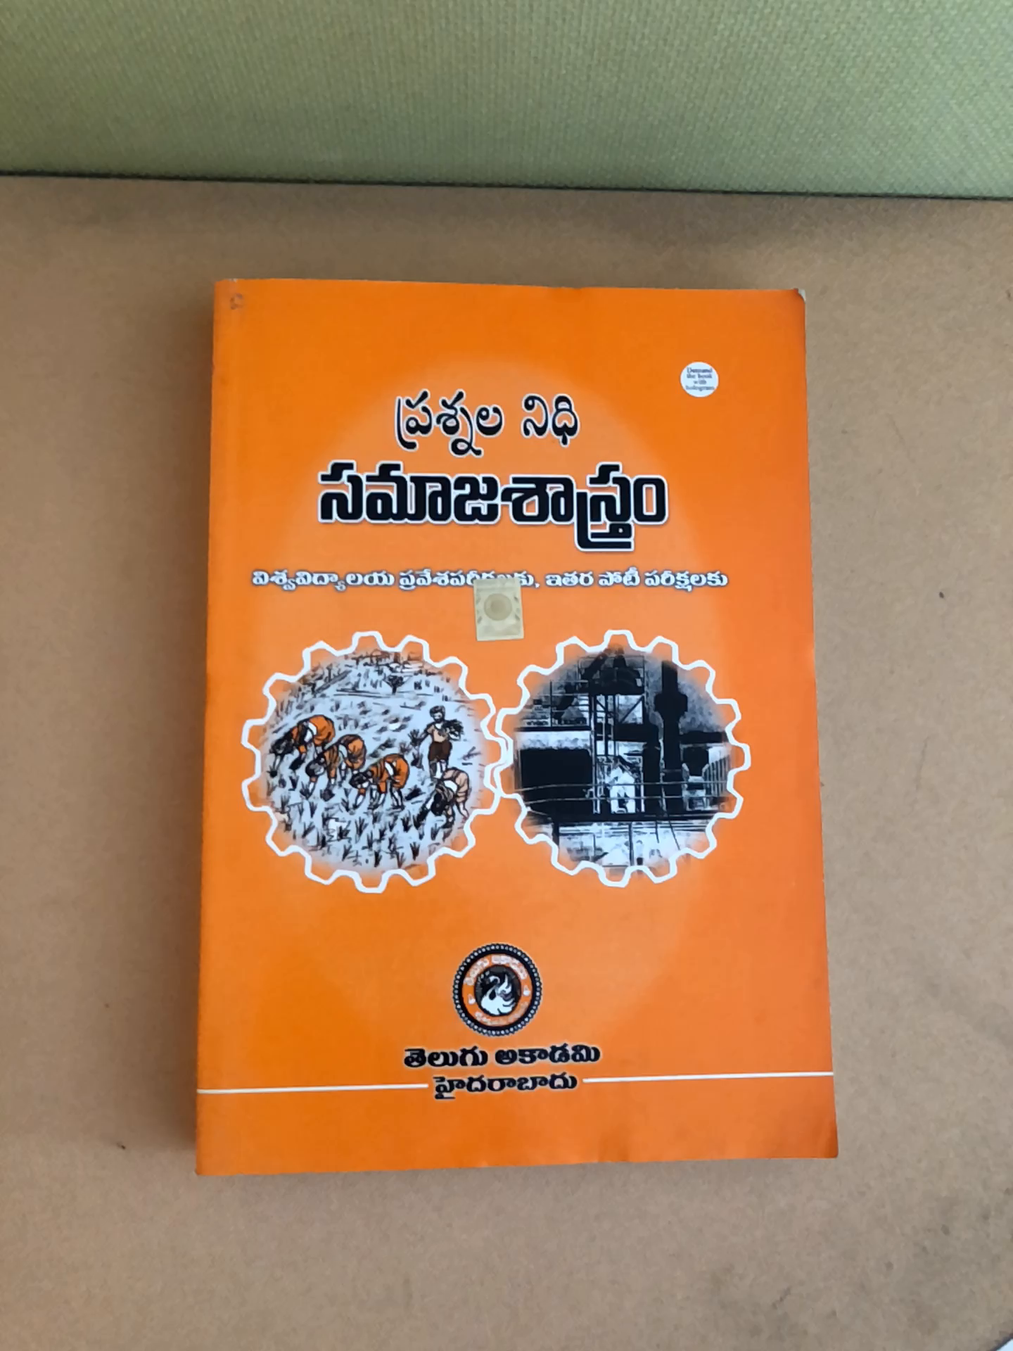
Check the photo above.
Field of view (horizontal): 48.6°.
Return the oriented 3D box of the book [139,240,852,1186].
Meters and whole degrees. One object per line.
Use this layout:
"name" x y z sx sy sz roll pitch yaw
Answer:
"book" -0.004 0.006 0.374 0.210 0.050 0.290 0 82 -3
